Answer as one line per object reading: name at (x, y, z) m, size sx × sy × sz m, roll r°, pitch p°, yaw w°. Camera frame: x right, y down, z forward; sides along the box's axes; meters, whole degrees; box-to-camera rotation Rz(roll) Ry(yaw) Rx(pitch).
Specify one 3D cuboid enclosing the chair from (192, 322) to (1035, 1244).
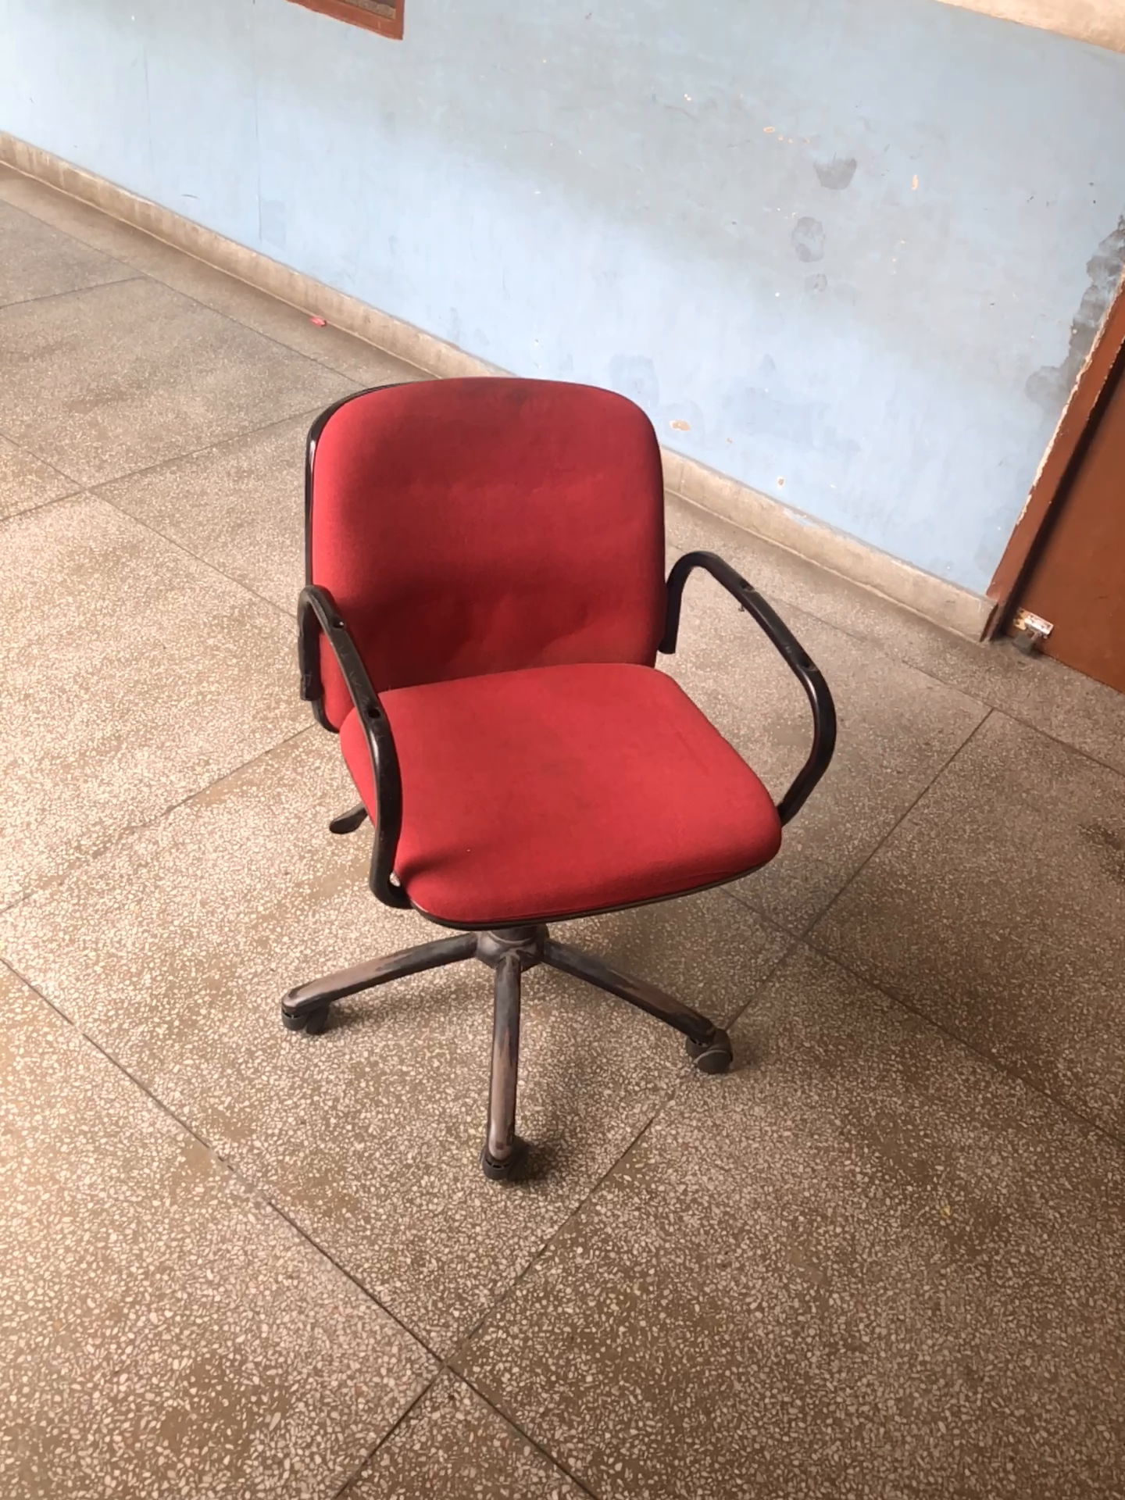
chair at (-0.032, 0.004, 1.510) m, size 0.651 × 0.797 × 0.642 m, roll -11°, pitch 44°, yaw -24°
